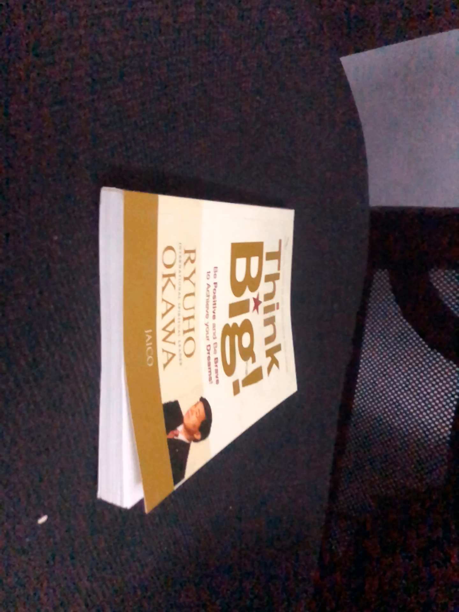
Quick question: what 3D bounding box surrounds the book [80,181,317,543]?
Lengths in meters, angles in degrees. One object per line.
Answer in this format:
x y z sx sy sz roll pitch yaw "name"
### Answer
0.003 0.010 0.275 0.191 0.026 0.137 -17 108 -60 "book"
